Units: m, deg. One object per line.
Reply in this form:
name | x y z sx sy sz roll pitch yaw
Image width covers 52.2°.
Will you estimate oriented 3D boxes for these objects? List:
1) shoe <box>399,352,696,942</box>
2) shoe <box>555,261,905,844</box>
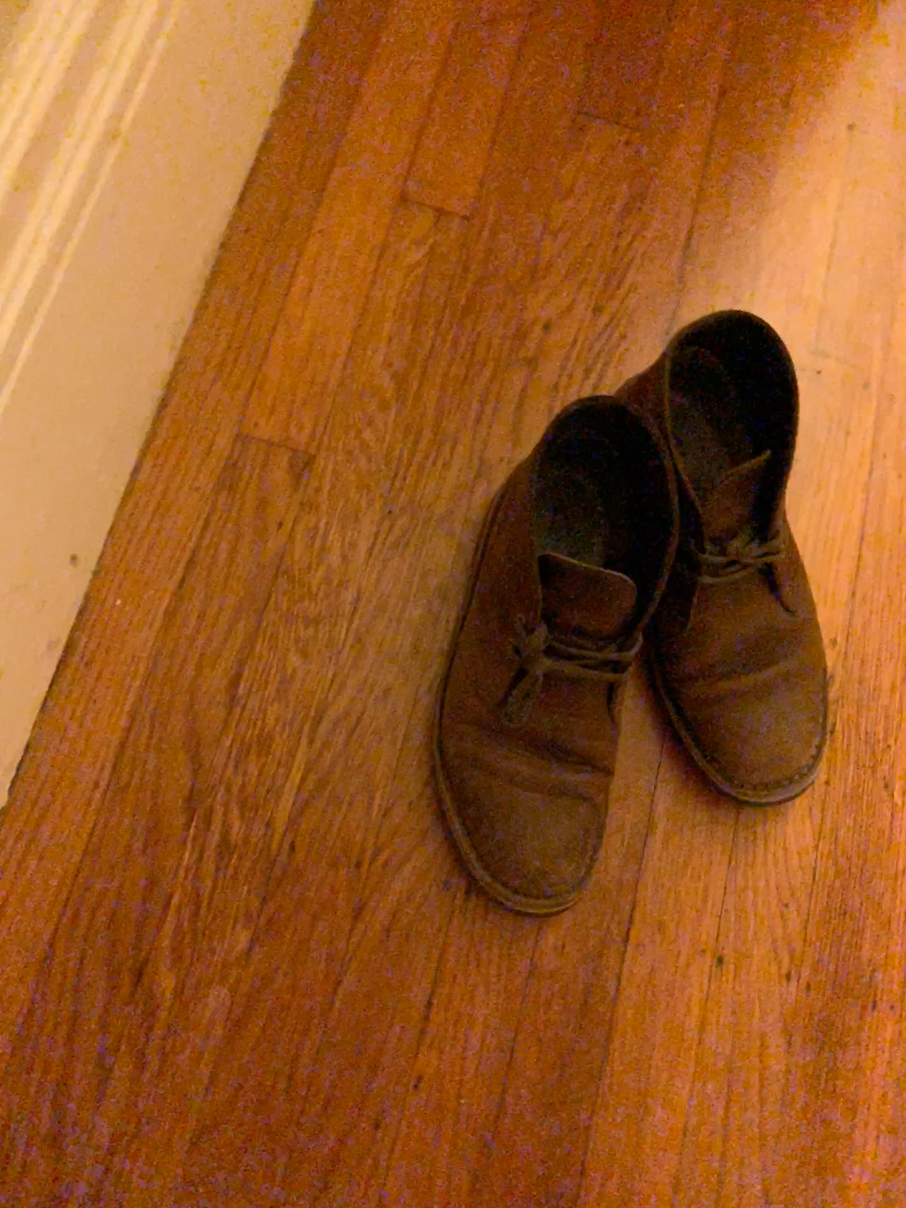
shoe | 0.051 0.026 0.523 0.120 0.120 0.290 8 74 -3
shoe | 0.169 -0.026 0.539 0.120 0.120 0.300 -12 76 -9
